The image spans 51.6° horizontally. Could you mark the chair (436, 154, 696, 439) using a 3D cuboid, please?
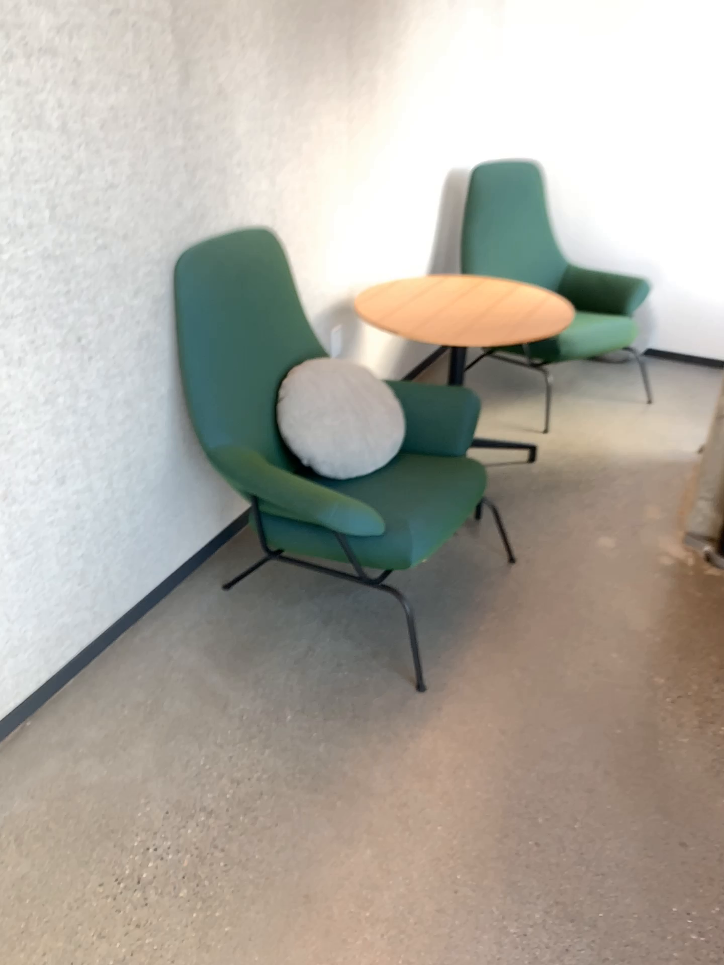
[{"bbox_3d":[0.846,-0.866,3.348,0.651,1.014,0.754,-16,33,-27],"label":"chair"}]

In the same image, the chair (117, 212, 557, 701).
[{"bbox_3d":[-0.036,-0.143,2.107,0.842,0.994,0.723,16,33,26],"label":"chair"}]
